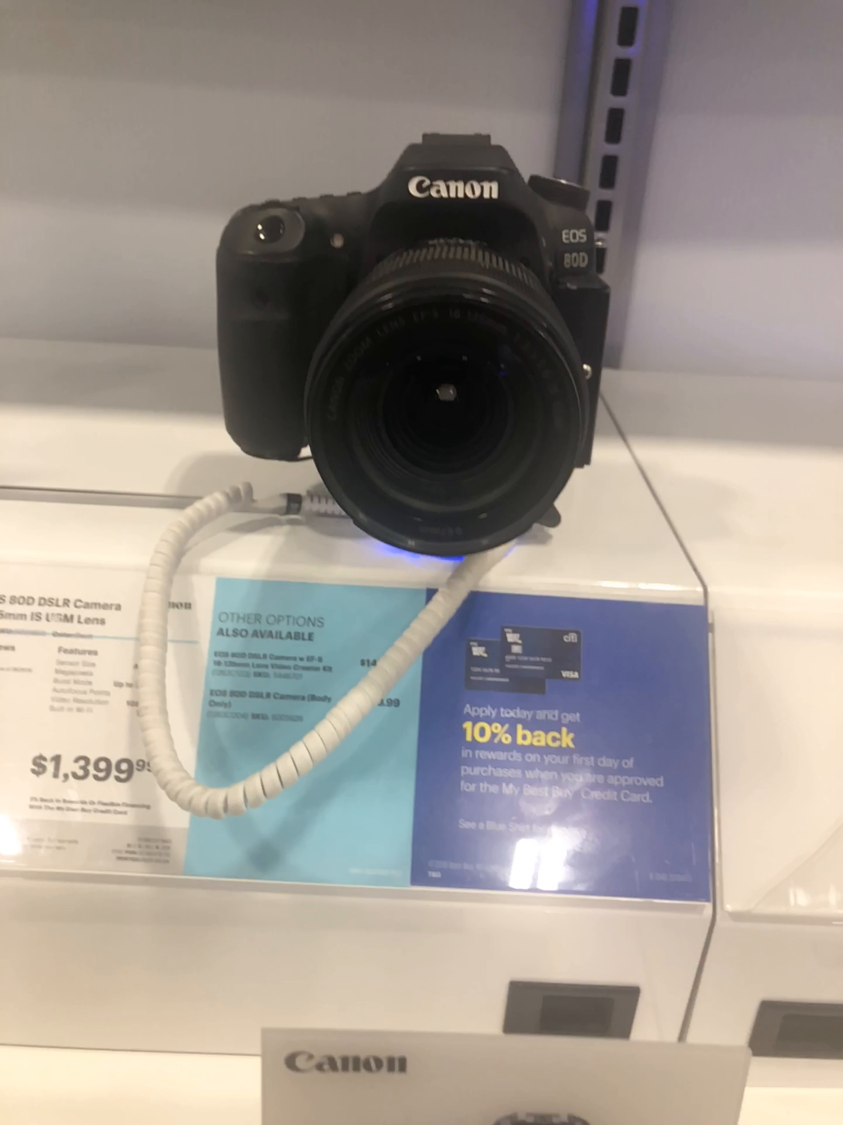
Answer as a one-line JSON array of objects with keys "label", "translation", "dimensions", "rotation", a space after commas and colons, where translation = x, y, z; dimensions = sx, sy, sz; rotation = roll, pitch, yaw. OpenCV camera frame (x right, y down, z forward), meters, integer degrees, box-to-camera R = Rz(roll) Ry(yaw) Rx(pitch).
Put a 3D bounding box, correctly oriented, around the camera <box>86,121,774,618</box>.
[{"label": "camera", "translation": [0.001, -0.078, 0.309], "dimensions": [0.150, 0.109, 0.181], "rotation": [3, 26, -1]}]
